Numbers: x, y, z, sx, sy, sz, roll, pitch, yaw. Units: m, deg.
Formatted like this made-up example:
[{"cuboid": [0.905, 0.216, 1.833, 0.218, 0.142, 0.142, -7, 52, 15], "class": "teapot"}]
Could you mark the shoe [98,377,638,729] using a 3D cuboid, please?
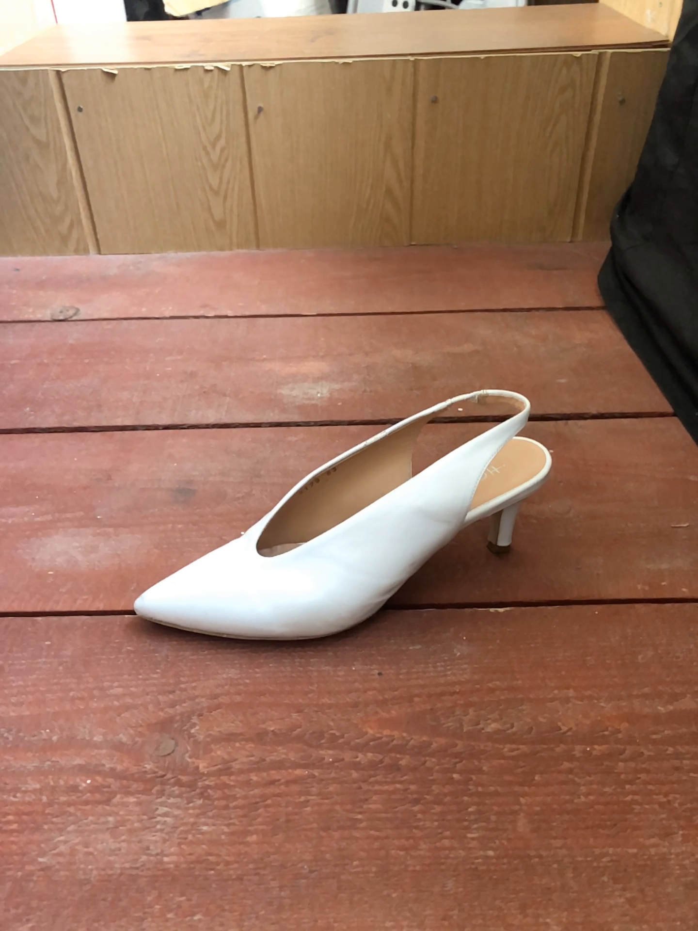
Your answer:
[{"cuboid": [0.007, 0.034, 0.395, 0.240, 0.080, 0.100, -13, 37, -14], "class": "shoe"}]
